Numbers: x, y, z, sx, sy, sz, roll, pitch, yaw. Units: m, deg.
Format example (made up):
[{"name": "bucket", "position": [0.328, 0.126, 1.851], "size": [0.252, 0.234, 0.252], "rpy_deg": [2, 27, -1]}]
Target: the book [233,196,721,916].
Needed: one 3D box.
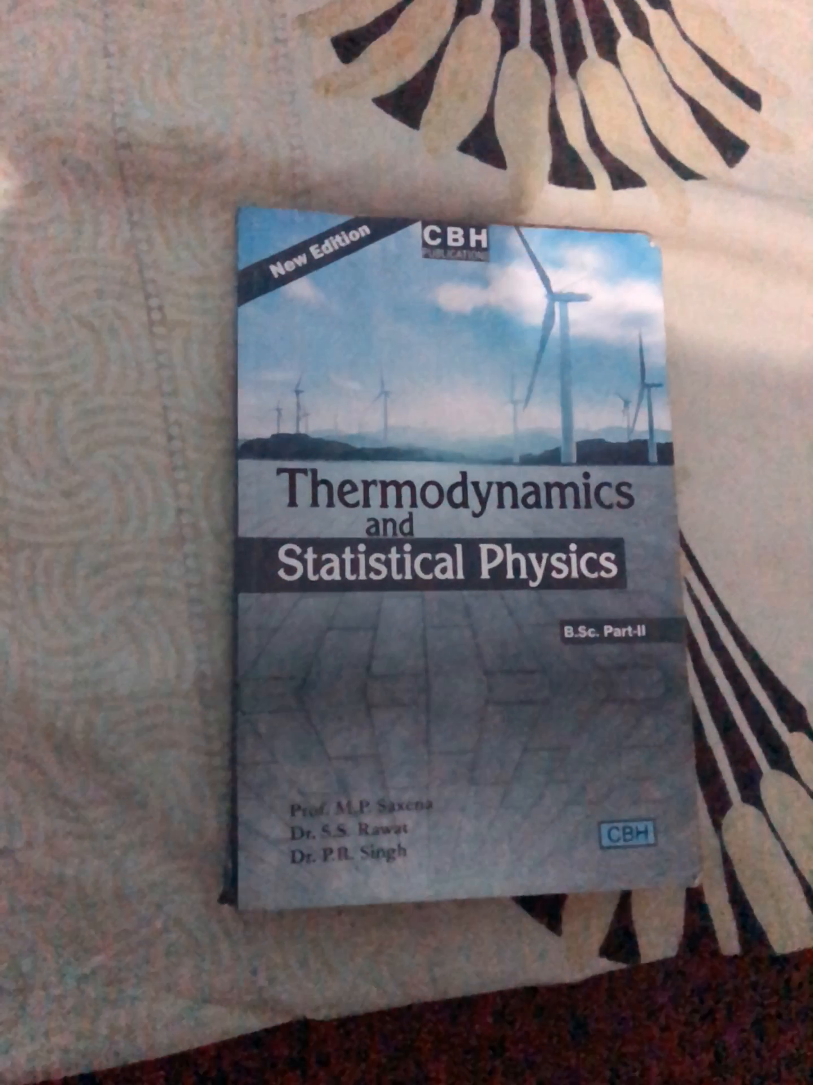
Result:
[{"name": "book", "position": [0.024, 0.002, 0.331], "size": [0.170, 0.030, 0.240], "rpy_deg": [0, 86, -10]}]
